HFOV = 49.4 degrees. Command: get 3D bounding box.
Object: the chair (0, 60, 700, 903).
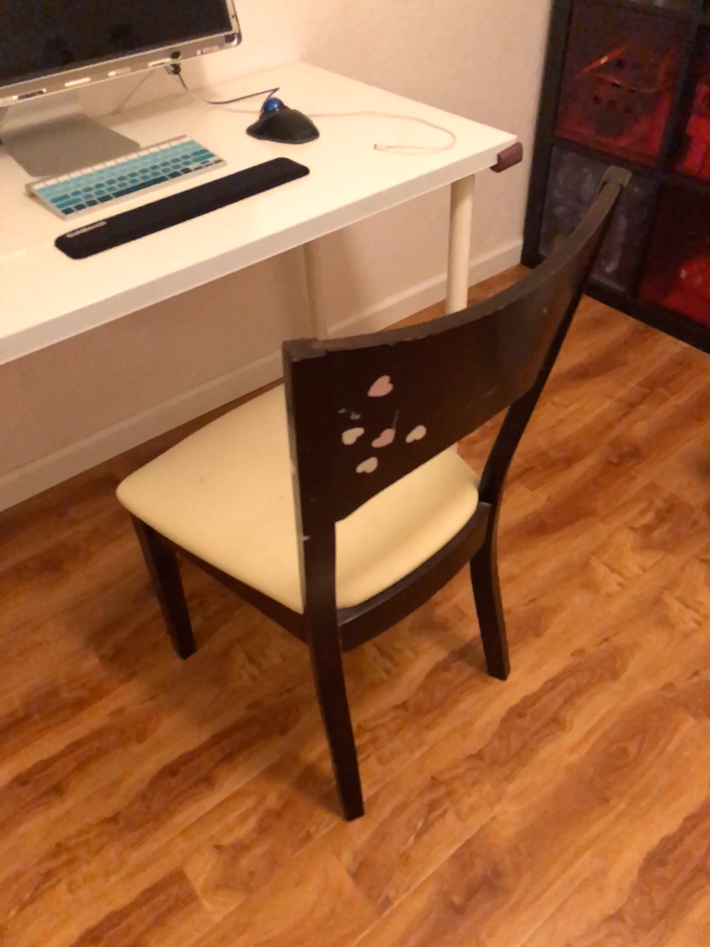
[{"bbox_3d":[-0.061,-0.005,1.139,0.571,0.885,0.662,-32,49,-28],"label":"chair"}]
